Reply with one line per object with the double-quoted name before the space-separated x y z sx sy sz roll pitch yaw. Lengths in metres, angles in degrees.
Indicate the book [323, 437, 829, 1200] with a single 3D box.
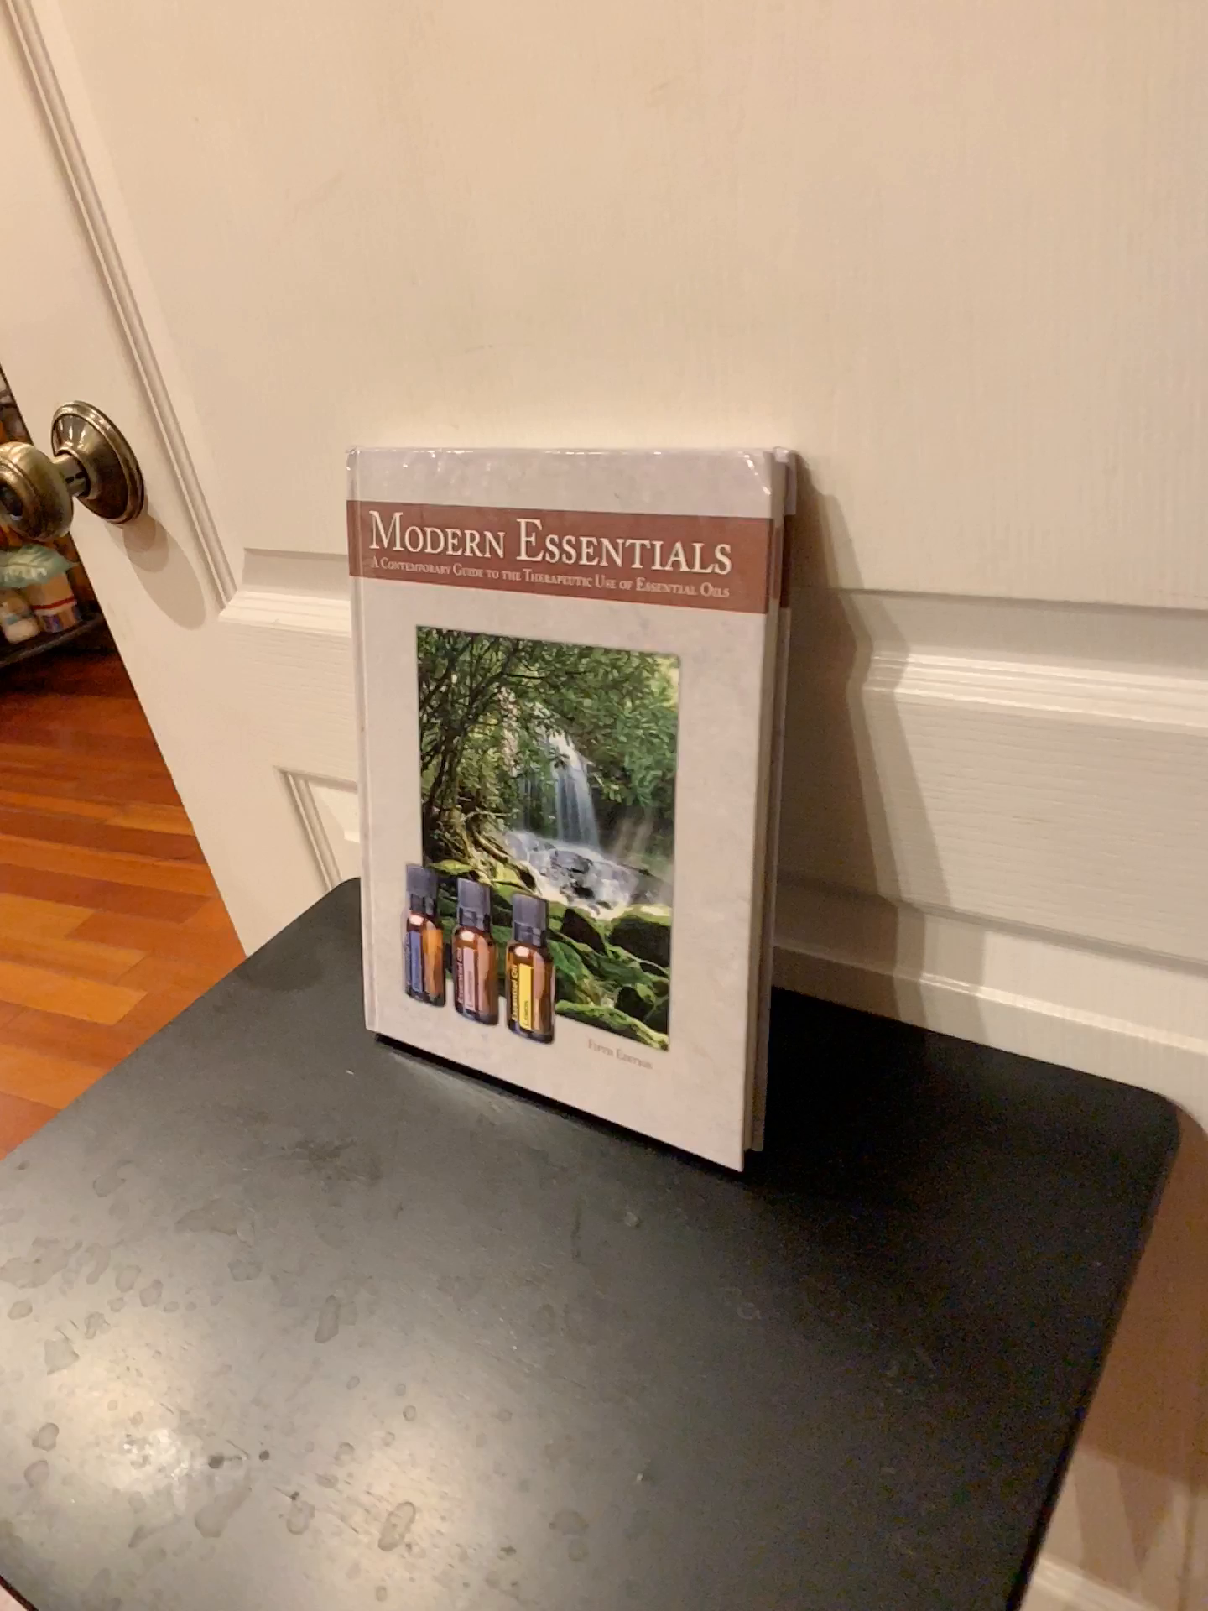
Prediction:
"book" -0.023 -0.006 0.529 0.231 0.289 0.030 11 19 35
